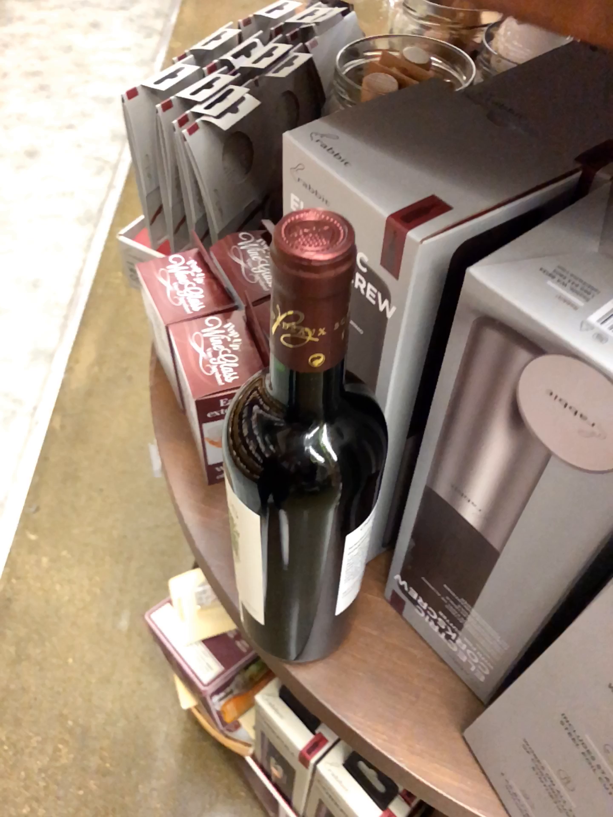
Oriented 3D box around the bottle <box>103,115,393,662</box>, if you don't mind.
[{"bbox_3d":[-0.015,0.025,0.327,0.080,0.299,0.080,0,50,0],"label":"bottle"}]
